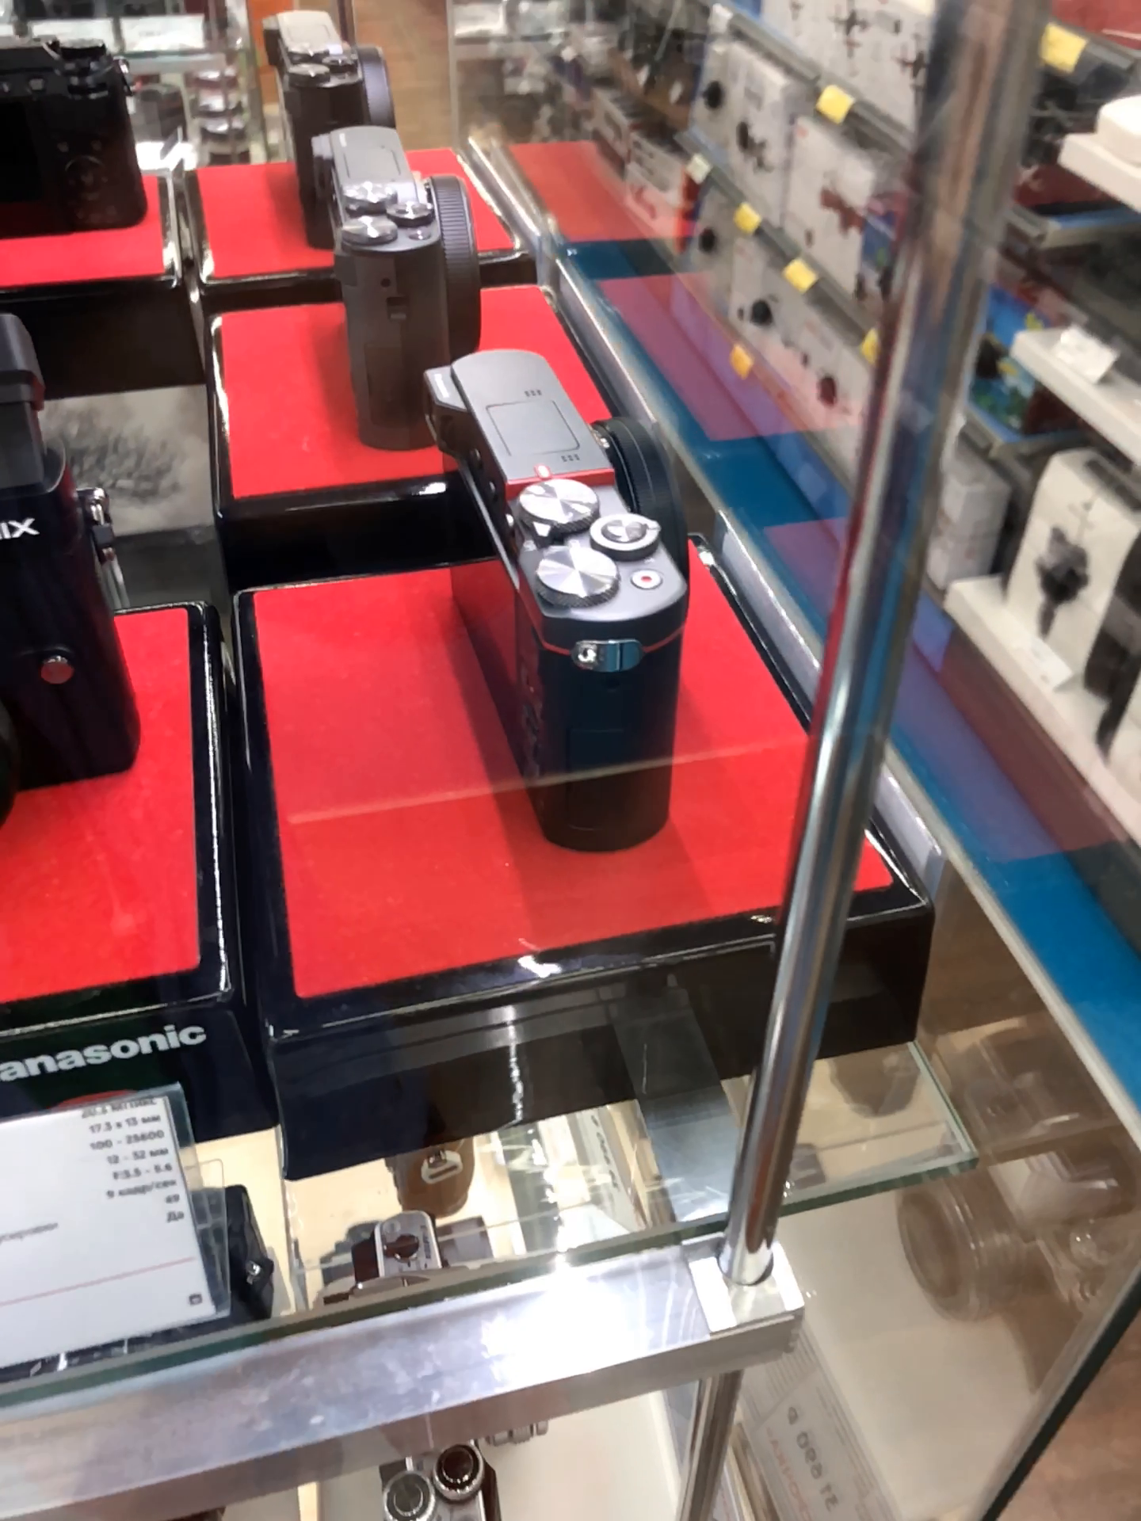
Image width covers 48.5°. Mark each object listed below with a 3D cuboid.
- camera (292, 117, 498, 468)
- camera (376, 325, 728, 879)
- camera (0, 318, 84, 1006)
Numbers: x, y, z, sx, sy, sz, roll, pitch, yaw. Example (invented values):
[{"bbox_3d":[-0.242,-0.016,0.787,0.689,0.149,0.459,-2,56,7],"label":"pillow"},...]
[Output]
[{"bbox_3d":[-0.059,-0.157,0.416,0.051,0.070,0.113,-7,42,-9],"label":"camera"},{"bbox_3d":[-0.010,-0.041,0.290,0.050,0.070,0.113,-9,42,-11],"label":"camera"},{"bbox_3d":[-0.169,-0.021,0.255,0.113,0.101,0.069,-10,42,-12],"label":"camera"}]
